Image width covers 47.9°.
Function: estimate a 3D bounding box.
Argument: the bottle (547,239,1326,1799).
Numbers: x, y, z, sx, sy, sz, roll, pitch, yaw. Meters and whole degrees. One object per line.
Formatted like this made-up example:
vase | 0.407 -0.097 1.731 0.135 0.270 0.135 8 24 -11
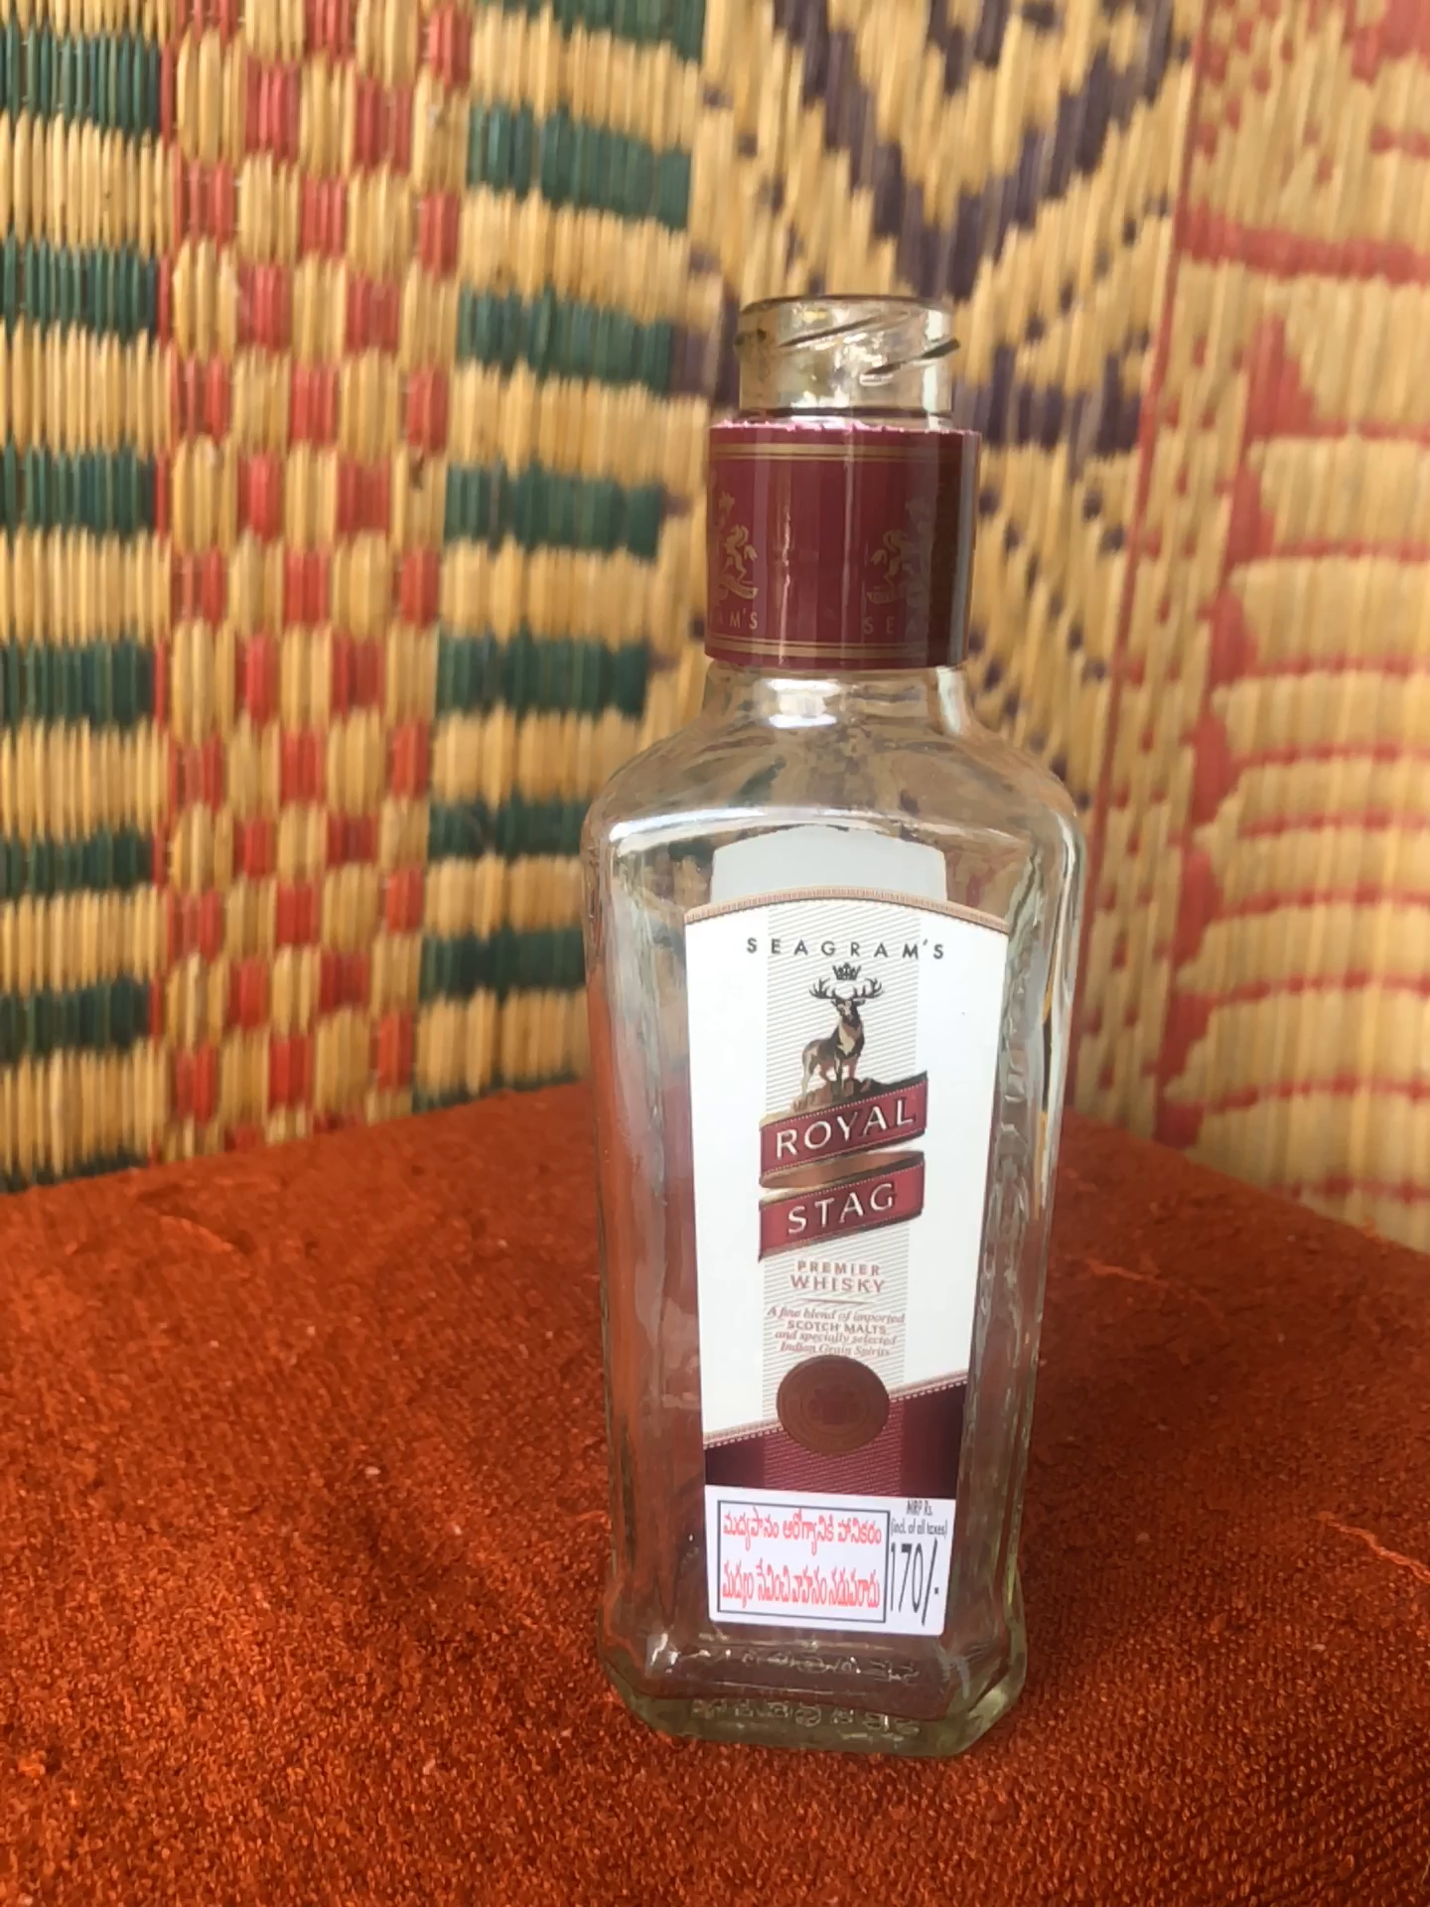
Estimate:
bottle | 0.018 0.008 0.187 0.060 0.159 0.060 3 18 -1
